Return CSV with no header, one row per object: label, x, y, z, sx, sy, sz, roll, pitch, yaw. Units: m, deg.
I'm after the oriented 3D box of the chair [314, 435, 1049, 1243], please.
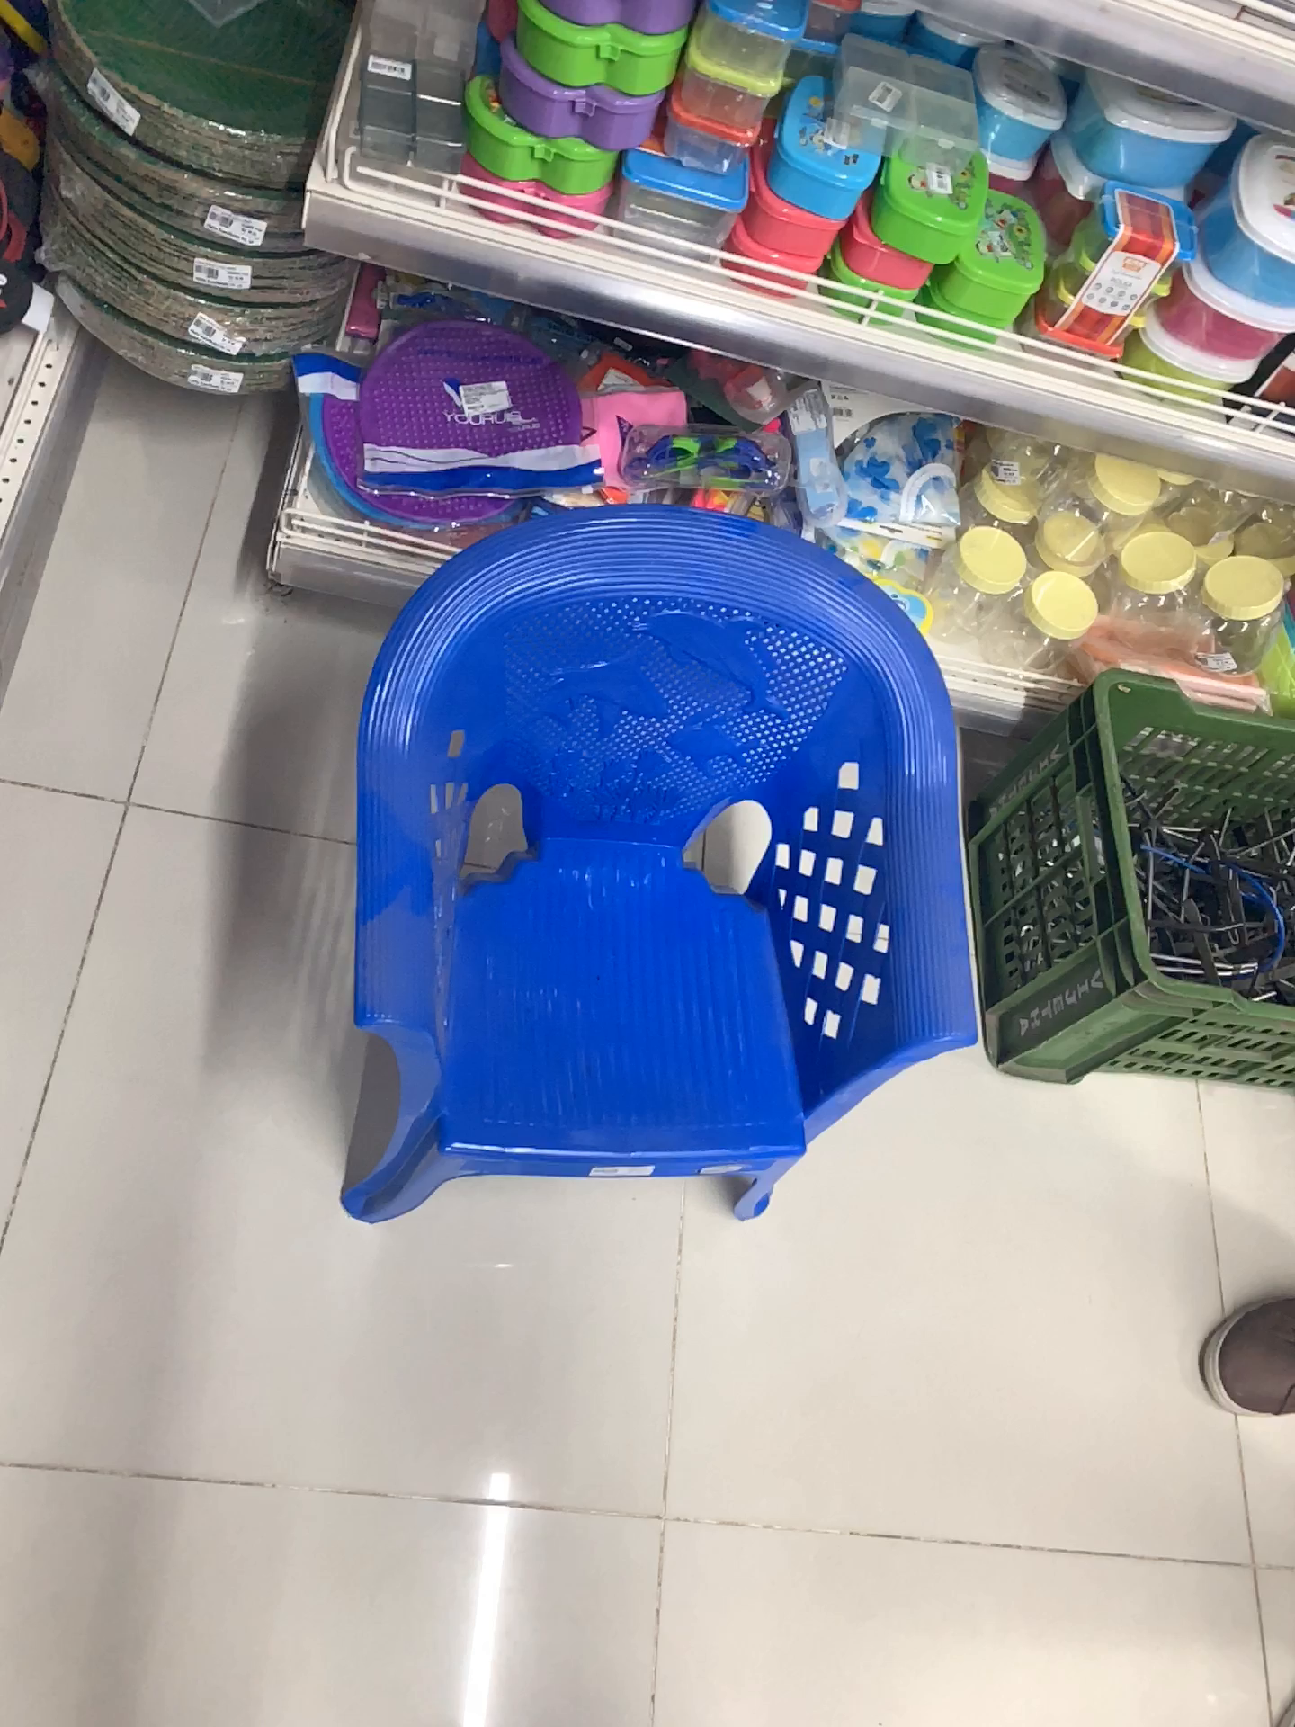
chair,-0.030,0.027,1.046,0.420,0.469,0.450,3,65,-15
